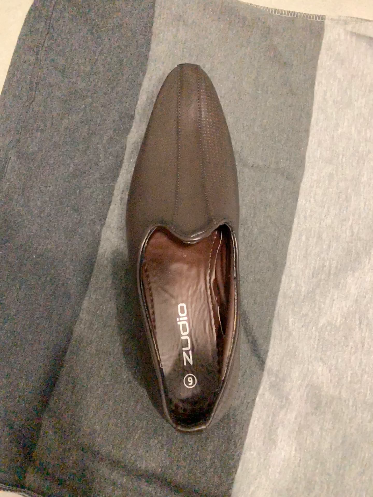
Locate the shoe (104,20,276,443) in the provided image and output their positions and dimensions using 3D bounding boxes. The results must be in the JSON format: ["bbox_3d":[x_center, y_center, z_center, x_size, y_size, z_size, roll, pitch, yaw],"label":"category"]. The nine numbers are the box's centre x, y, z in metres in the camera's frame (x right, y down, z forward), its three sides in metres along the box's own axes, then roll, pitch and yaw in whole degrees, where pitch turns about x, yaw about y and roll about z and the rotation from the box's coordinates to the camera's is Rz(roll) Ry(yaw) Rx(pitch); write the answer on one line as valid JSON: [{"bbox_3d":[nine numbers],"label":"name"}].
[{"bbox_3d":[-0.001,-0.014,0.292,0.100,0.100,0.270,-2,81,0],"label":"shoe"}]
